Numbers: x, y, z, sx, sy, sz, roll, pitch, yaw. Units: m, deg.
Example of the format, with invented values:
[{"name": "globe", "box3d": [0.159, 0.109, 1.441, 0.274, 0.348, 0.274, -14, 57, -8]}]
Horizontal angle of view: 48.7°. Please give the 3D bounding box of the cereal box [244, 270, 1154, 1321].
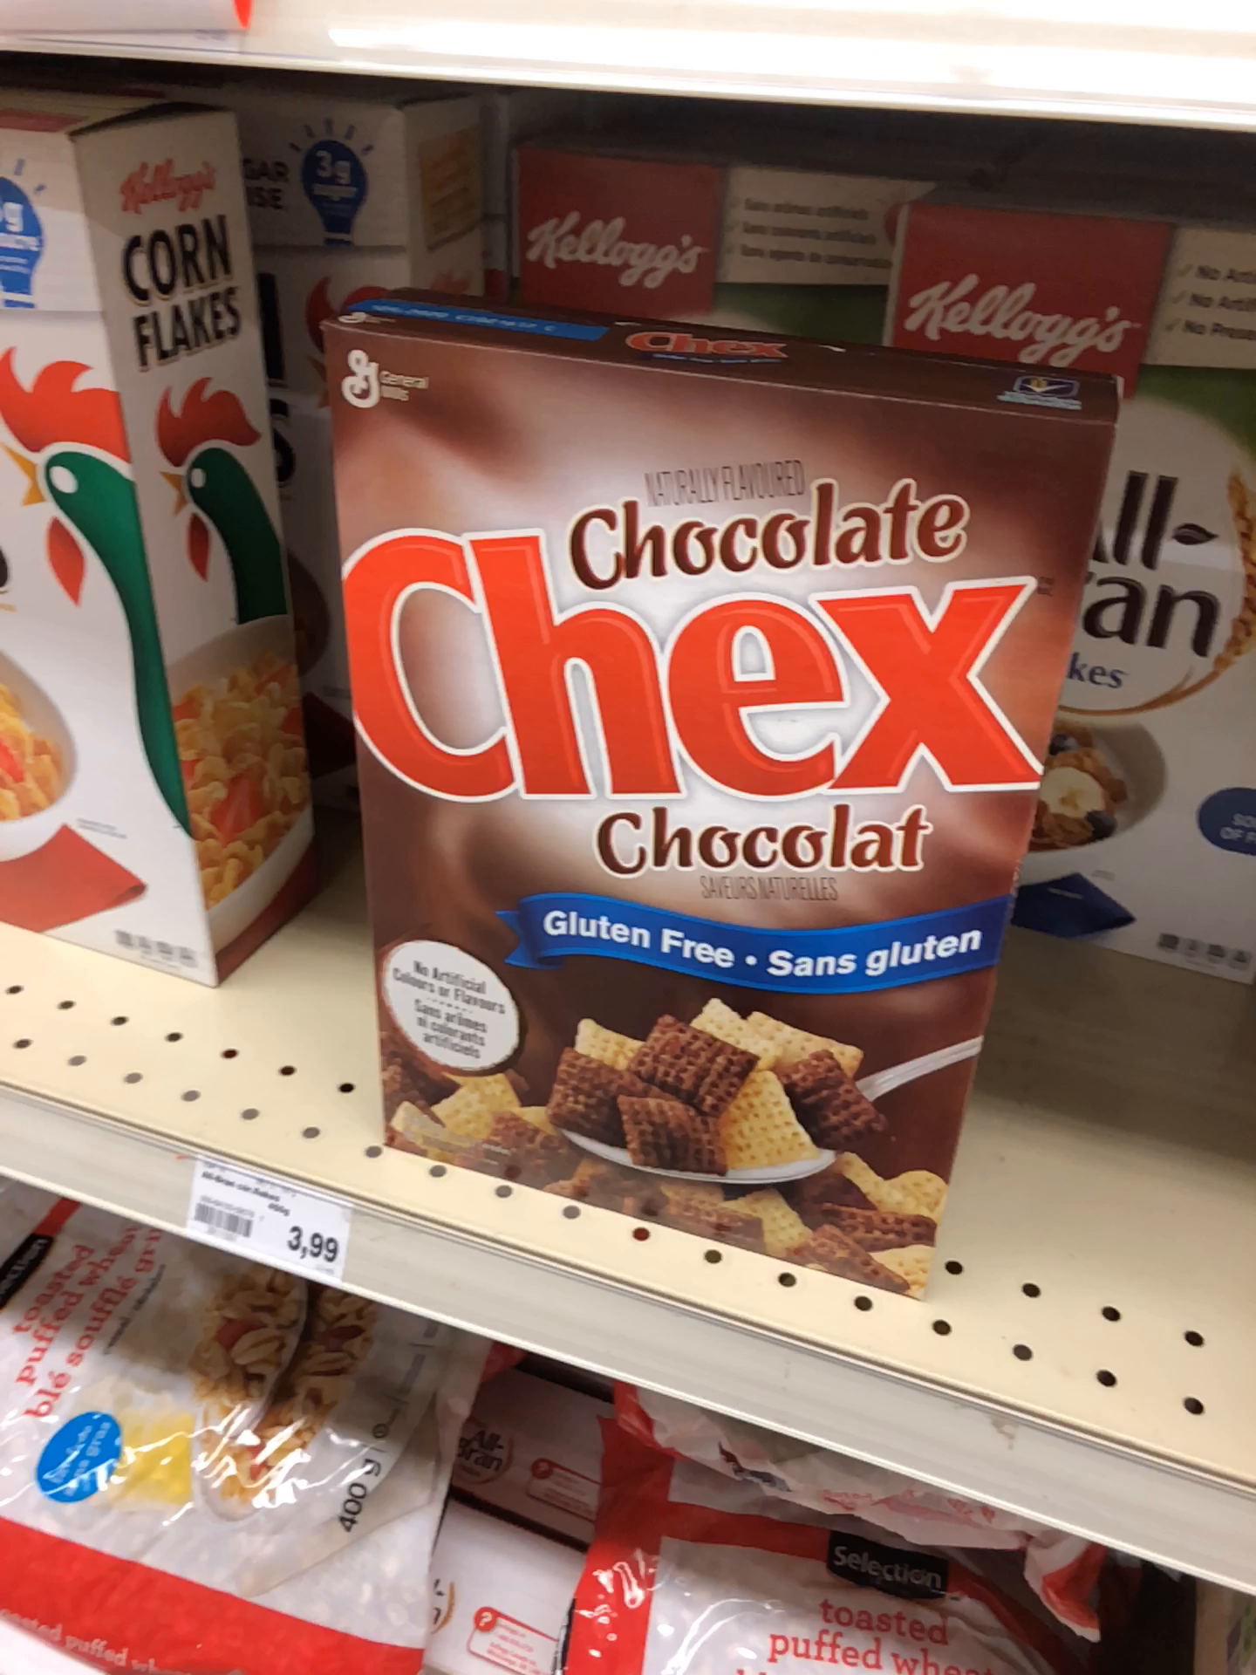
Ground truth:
[{"name": "cereal box", "box3d": [0.010, -0.002, 0.403, 0.210, 0.278, 0.050, 12, 34, 16]}]
